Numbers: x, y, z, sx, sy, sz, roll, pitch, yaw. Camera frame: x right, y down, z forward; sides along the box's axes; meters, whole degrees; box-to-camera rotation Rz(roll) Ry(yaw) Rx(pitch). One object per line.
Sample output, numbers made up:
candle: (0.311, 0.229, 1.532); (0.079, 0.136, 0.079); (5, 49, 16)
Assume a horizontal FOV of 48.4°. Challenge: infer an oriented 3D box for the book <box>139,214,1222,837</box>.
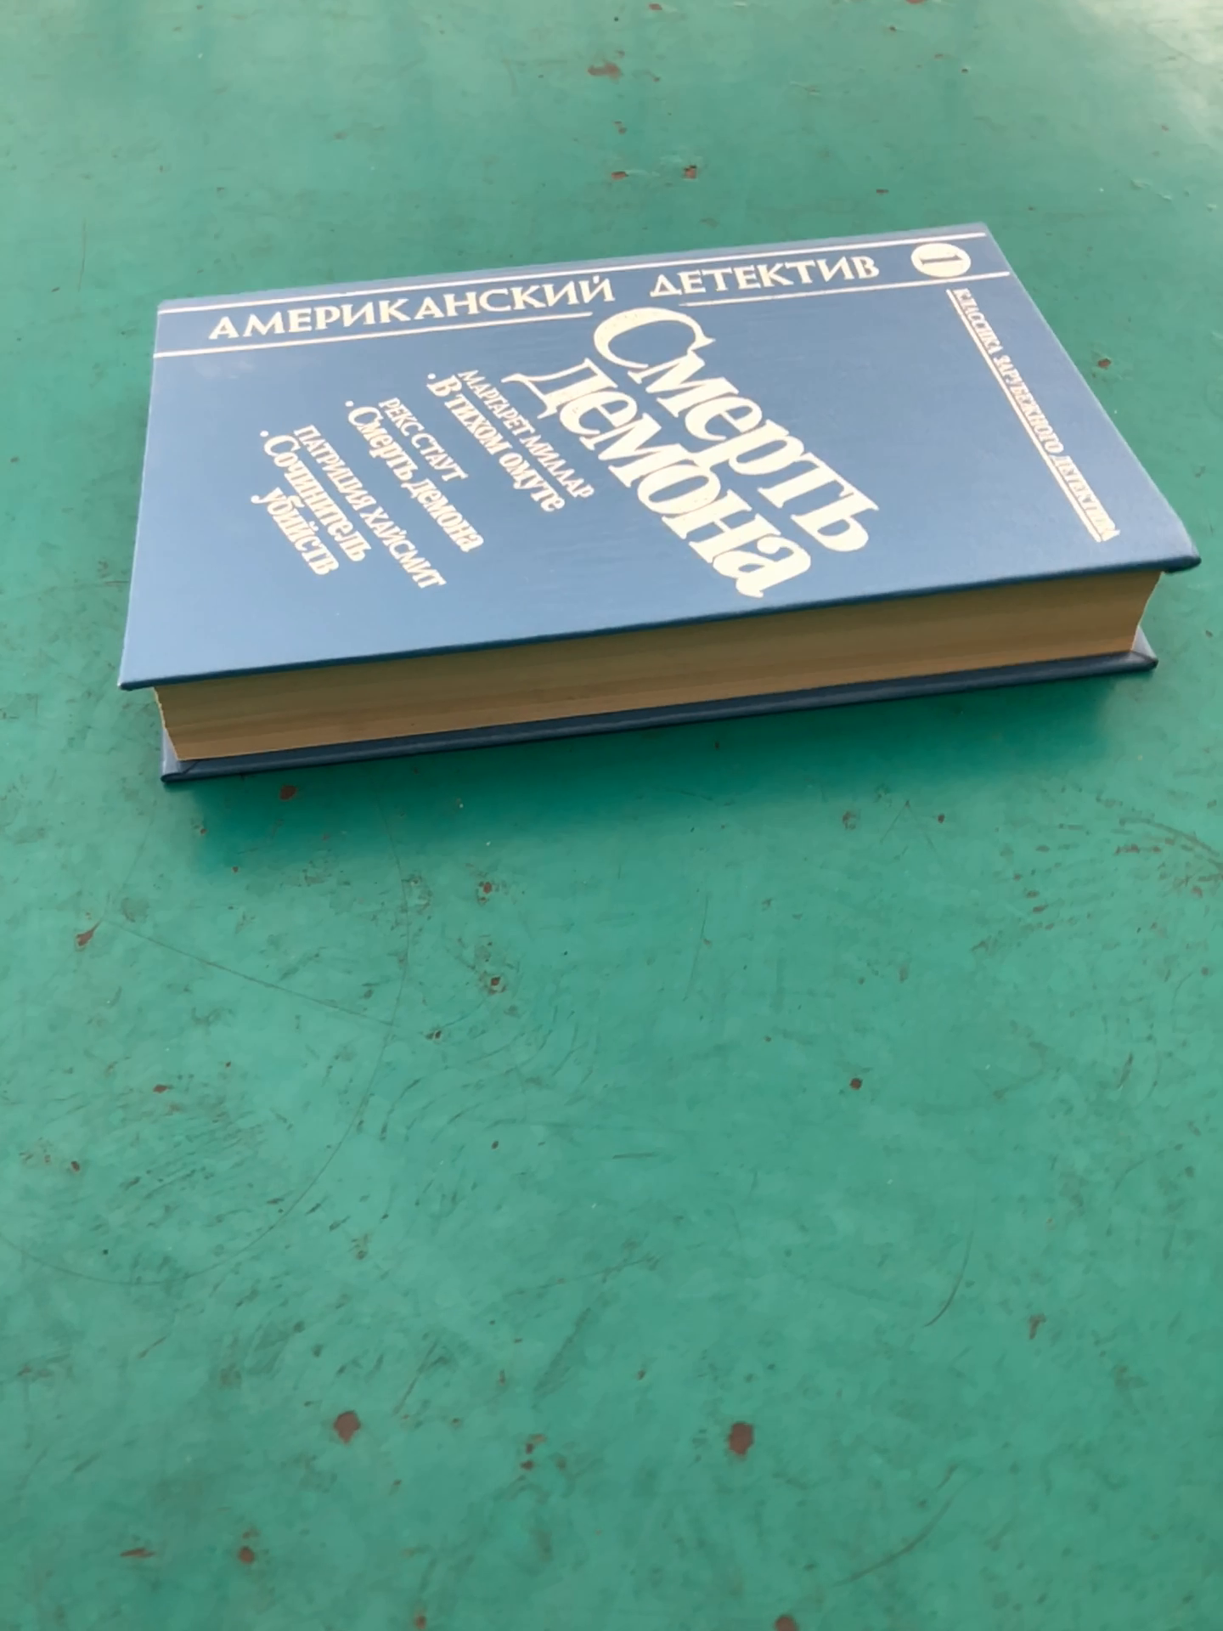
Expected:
book: (0.015, -0.073, 0.299); (0.212, 0.034, 0.142); (-6, 51, -5)
